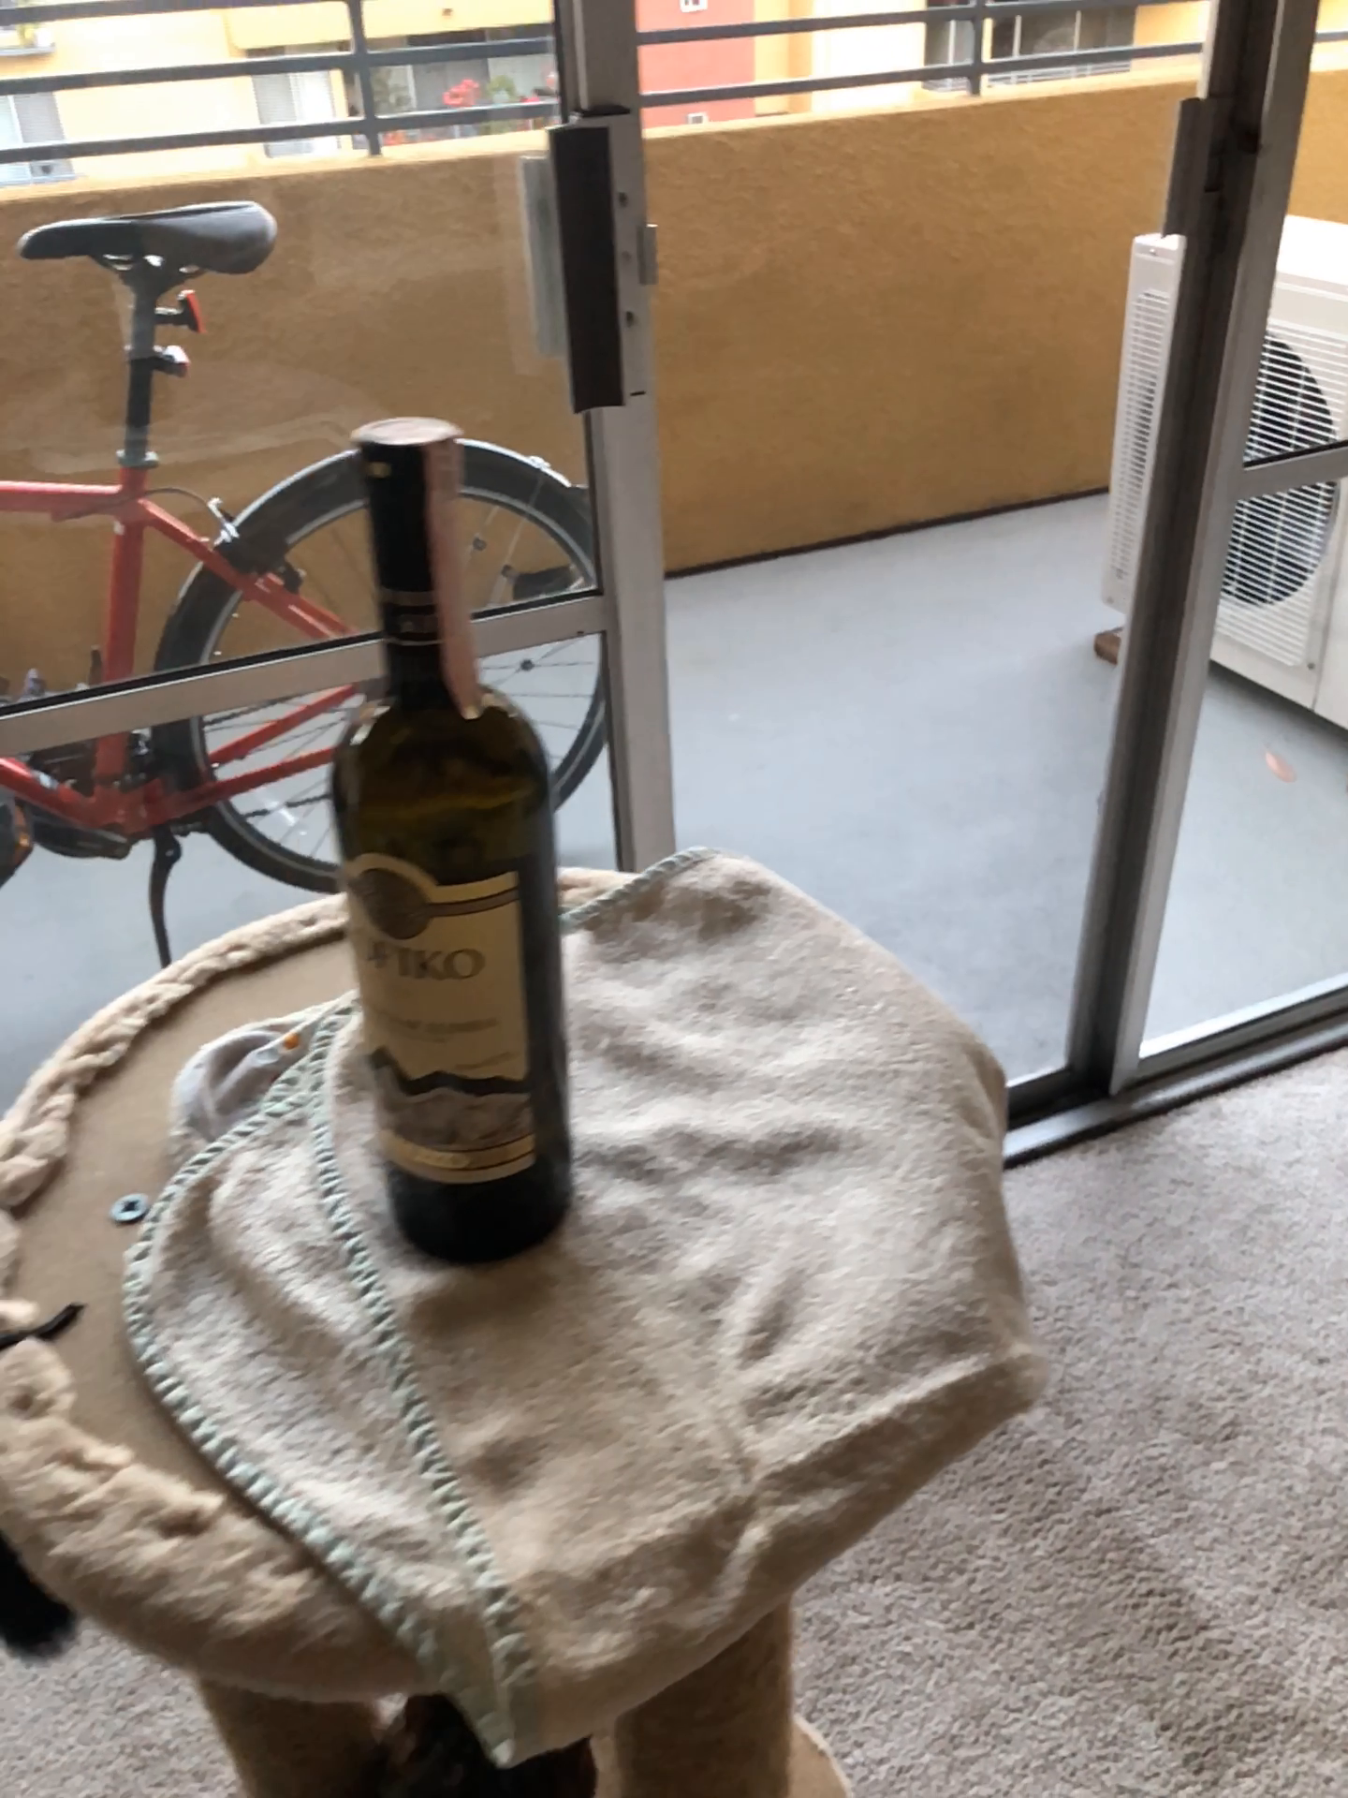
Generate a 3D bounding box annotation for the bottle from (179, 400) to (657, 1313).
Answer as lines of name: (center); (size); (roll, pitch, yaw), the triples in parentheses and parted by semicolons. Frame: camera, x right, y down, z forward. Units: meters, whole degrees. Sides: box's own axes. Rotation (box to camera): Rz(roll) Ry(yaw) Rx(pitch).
bottle: (-0.066, -0.004, 0.466); (0.080, 0.269, 0.080); (-2, 34, 1)
